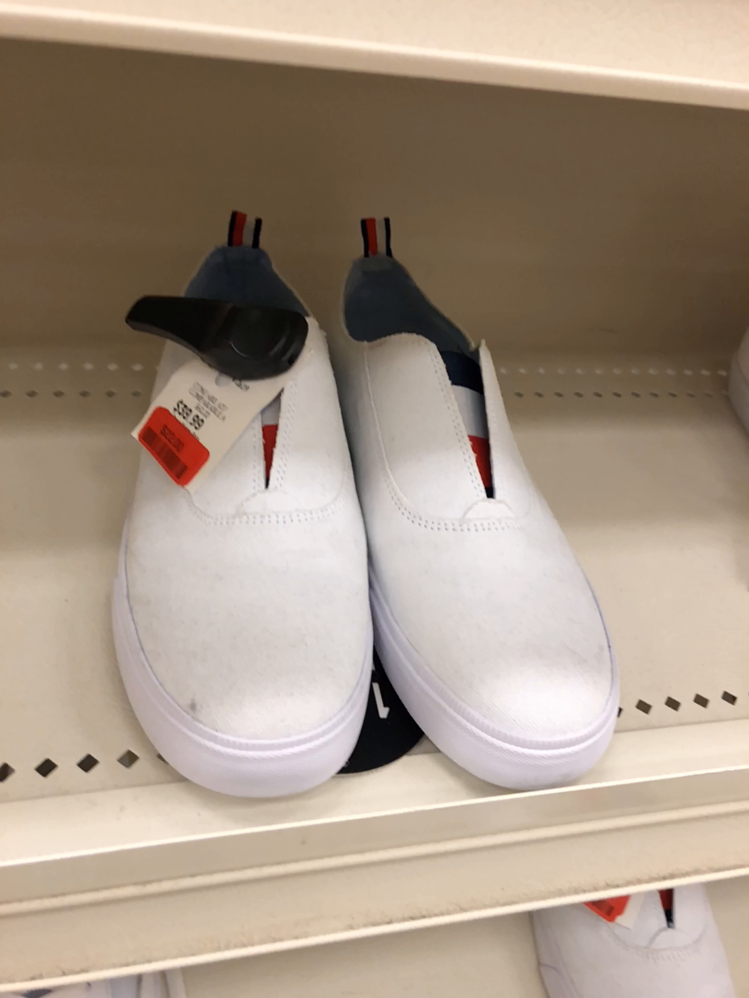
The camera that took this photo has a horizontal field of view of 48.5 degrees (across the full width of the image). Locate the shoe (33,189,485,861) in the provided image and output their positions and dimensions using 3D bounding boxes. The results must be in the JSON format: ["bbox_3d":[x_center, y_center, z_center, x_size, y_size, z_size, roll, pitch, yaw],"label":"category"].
[{"bbox_3d":[-0.056,-0.027,0.324,0.100,0.089,0.293,-1,37,-13],"label":"shoe"}]

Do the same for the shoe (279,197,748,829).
[{"bbox_3d":[0.026,-0.028,0.369,0.100,0.109,0.303,-1,37,-13],"label":"shoe"}]
